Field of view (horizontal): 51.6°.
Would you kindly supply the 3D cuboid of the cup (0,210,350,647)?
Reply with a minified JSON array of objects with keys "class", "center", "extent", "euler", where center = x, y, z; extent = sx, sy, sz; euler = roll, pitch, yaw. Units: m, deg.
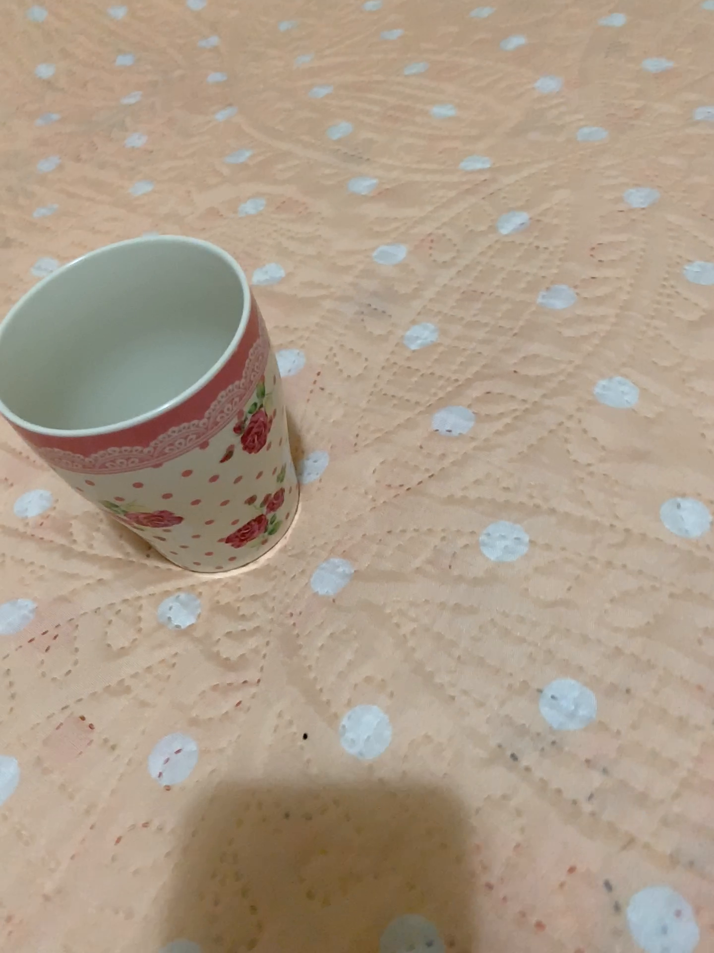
[{"class":"cup","center":[-0.084,-0.019,0.264],"extent":[0.120,0.100,0.090],"euler":[15,58,23]}]
